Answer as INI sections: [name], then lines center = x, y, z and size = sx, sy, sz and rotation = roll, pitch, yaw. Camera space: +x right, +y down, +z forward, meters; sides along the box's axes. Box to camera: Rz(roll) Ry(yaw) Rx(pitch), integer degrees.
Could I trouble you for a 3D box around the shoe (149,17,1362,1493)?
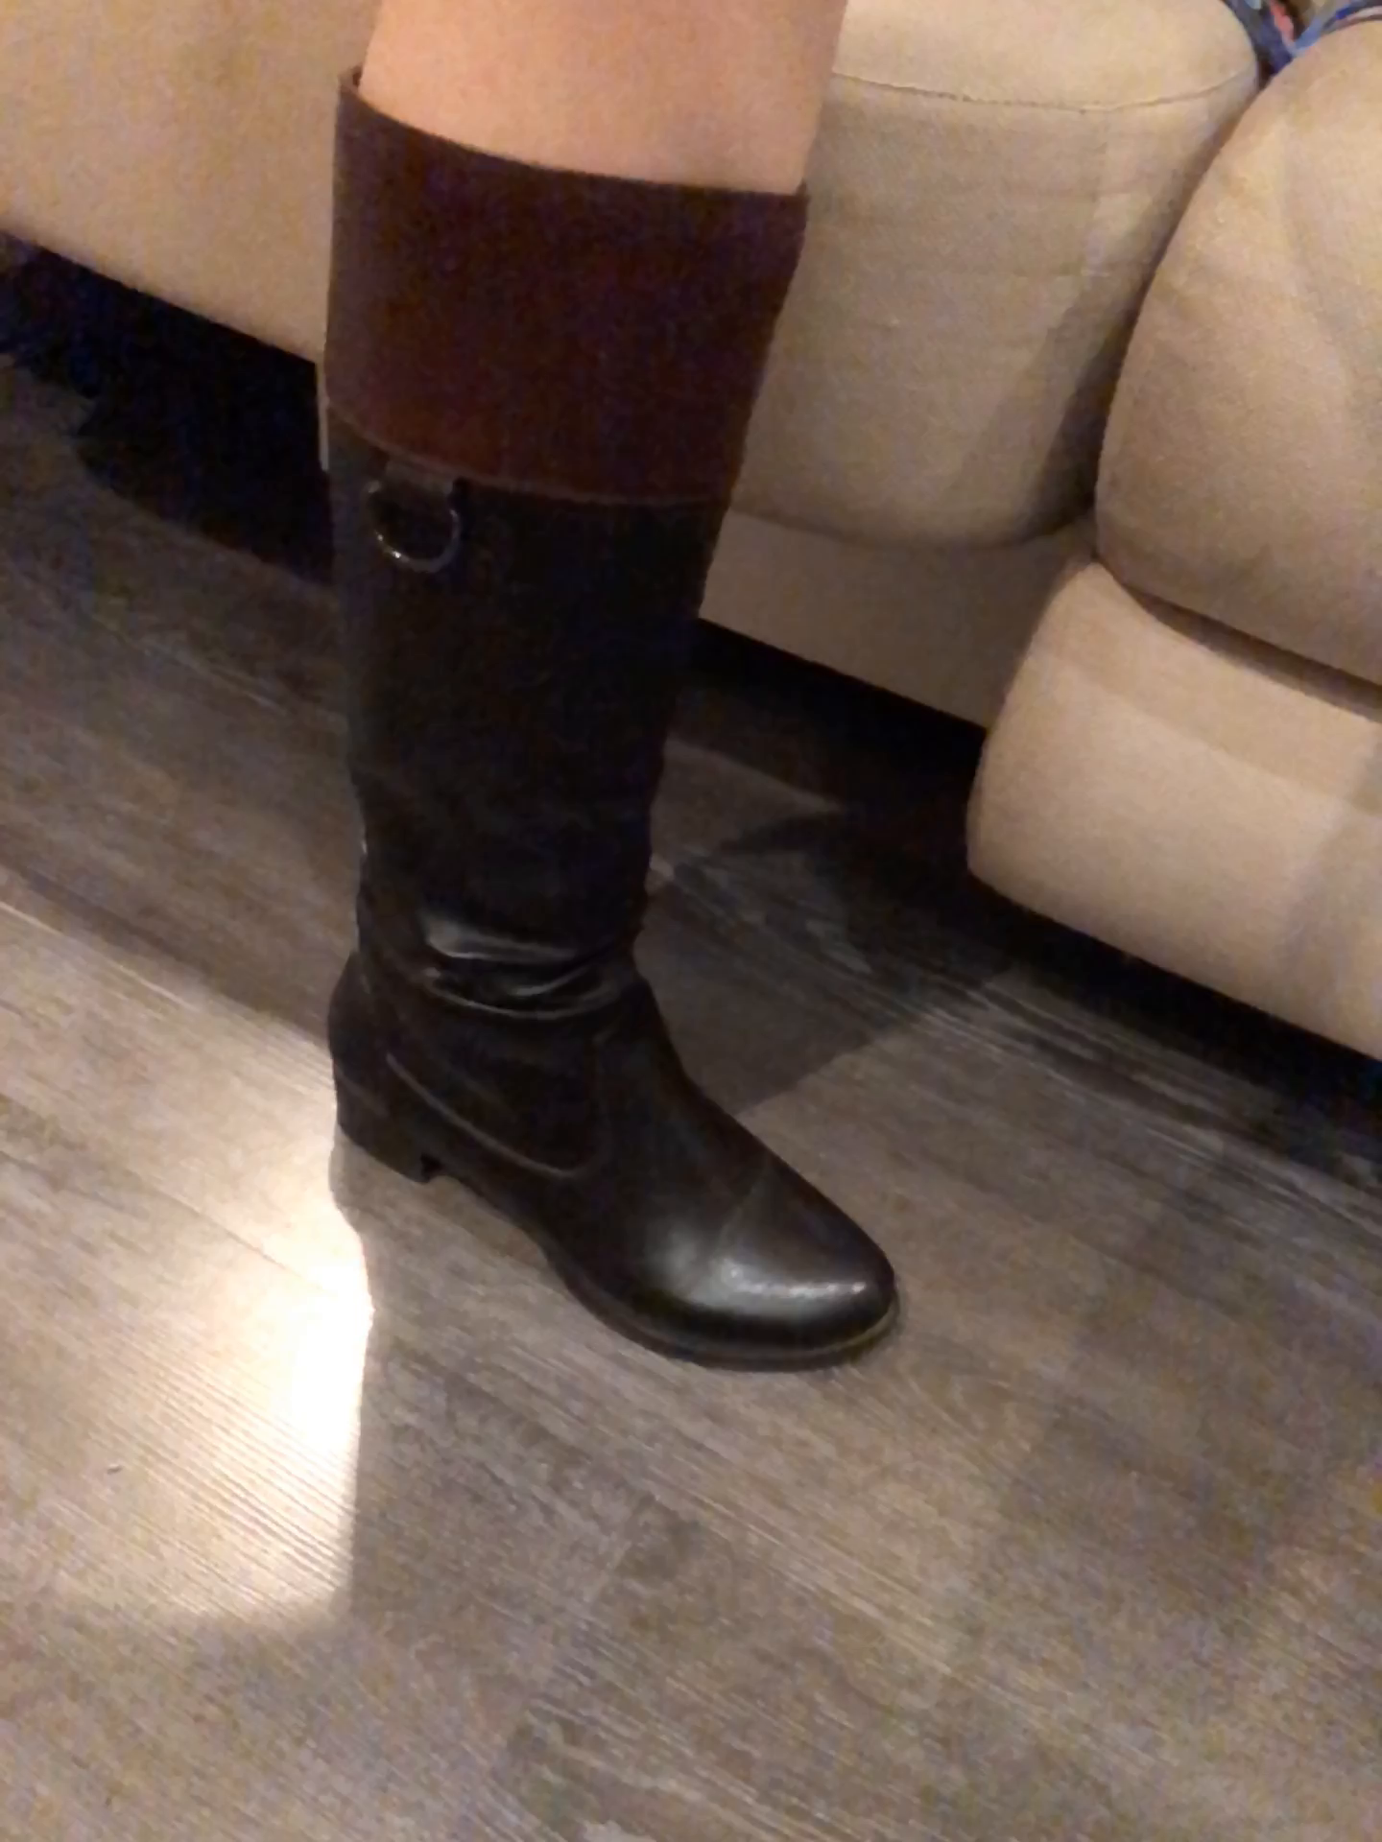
[shoe]
center = -0.009, -0.023, 0.501
size = 0.270, 0.417, 0.111
rotation = 24, 45, 16
